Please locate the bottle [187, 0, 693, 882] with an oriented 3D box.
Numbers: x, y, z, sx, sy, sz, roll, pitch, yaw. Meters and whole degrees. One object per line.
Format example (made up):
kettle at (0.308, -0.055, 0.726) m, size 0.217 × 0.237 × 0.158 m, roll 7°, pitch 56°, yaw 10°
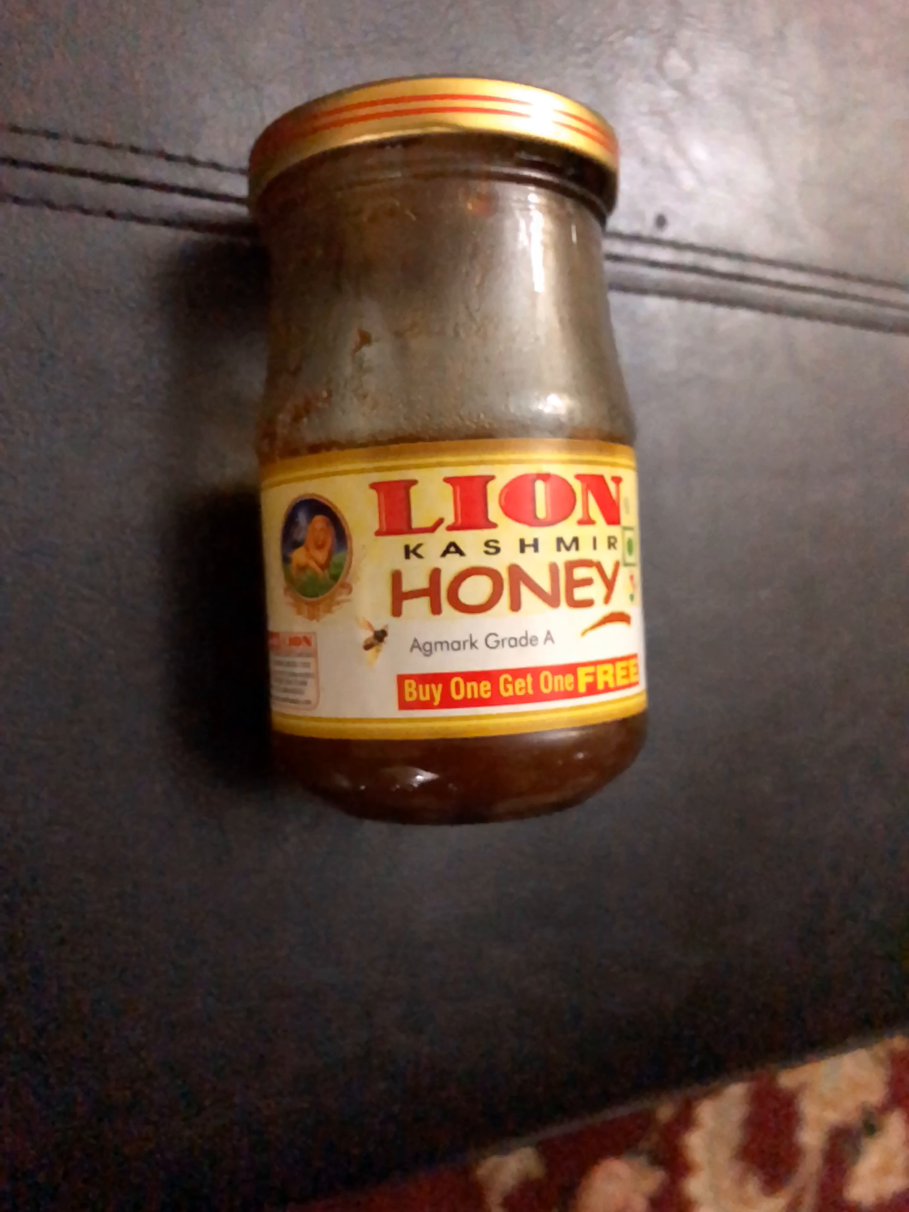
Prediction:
bottle at (-0.005, -0.022, 0.167) m, size 0.060 × 0.059 × 0.108 m, roll -2°, pitch 94°, yaw -27°
